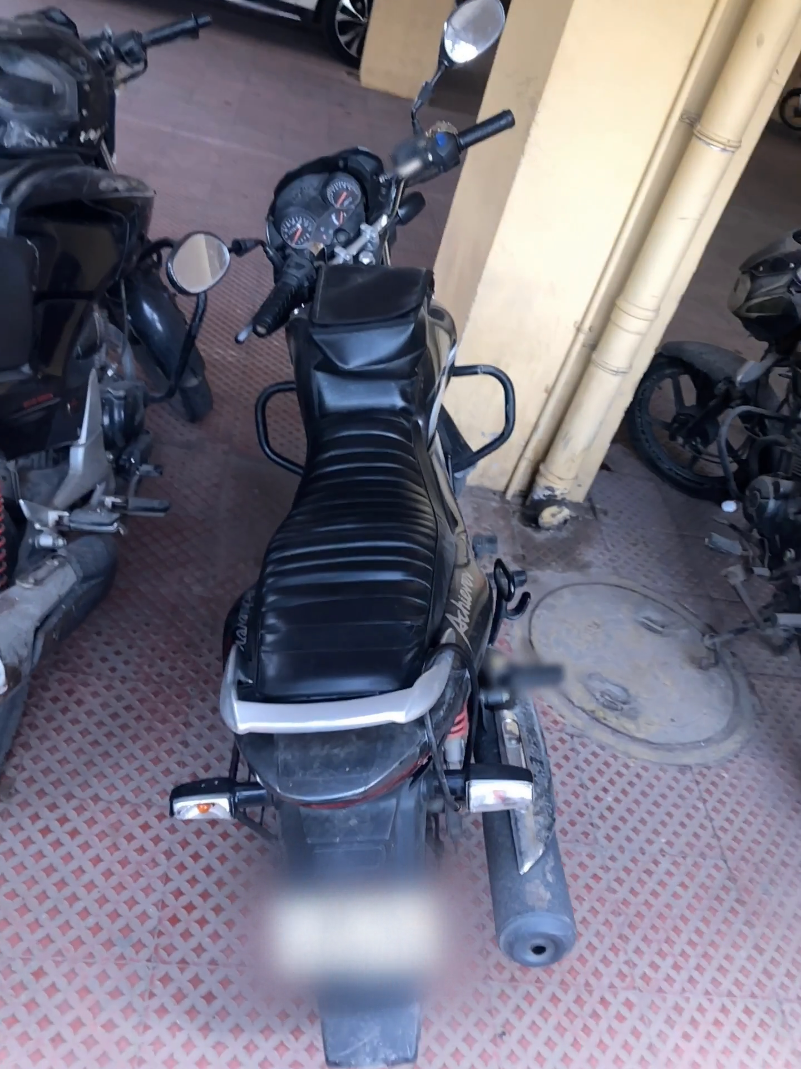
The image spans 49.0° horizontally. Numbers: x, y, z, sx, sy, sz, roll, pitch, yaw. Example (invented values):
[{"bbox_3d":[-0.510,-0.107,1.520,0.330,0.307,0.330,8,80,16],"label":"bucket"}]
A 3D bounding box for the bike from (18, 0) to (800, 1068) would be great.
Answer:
[{"bbox_3d":[-0.186,-0.187,1.702,0.731,1.125,1.769,7,37,-15],"label":"bike"}]
